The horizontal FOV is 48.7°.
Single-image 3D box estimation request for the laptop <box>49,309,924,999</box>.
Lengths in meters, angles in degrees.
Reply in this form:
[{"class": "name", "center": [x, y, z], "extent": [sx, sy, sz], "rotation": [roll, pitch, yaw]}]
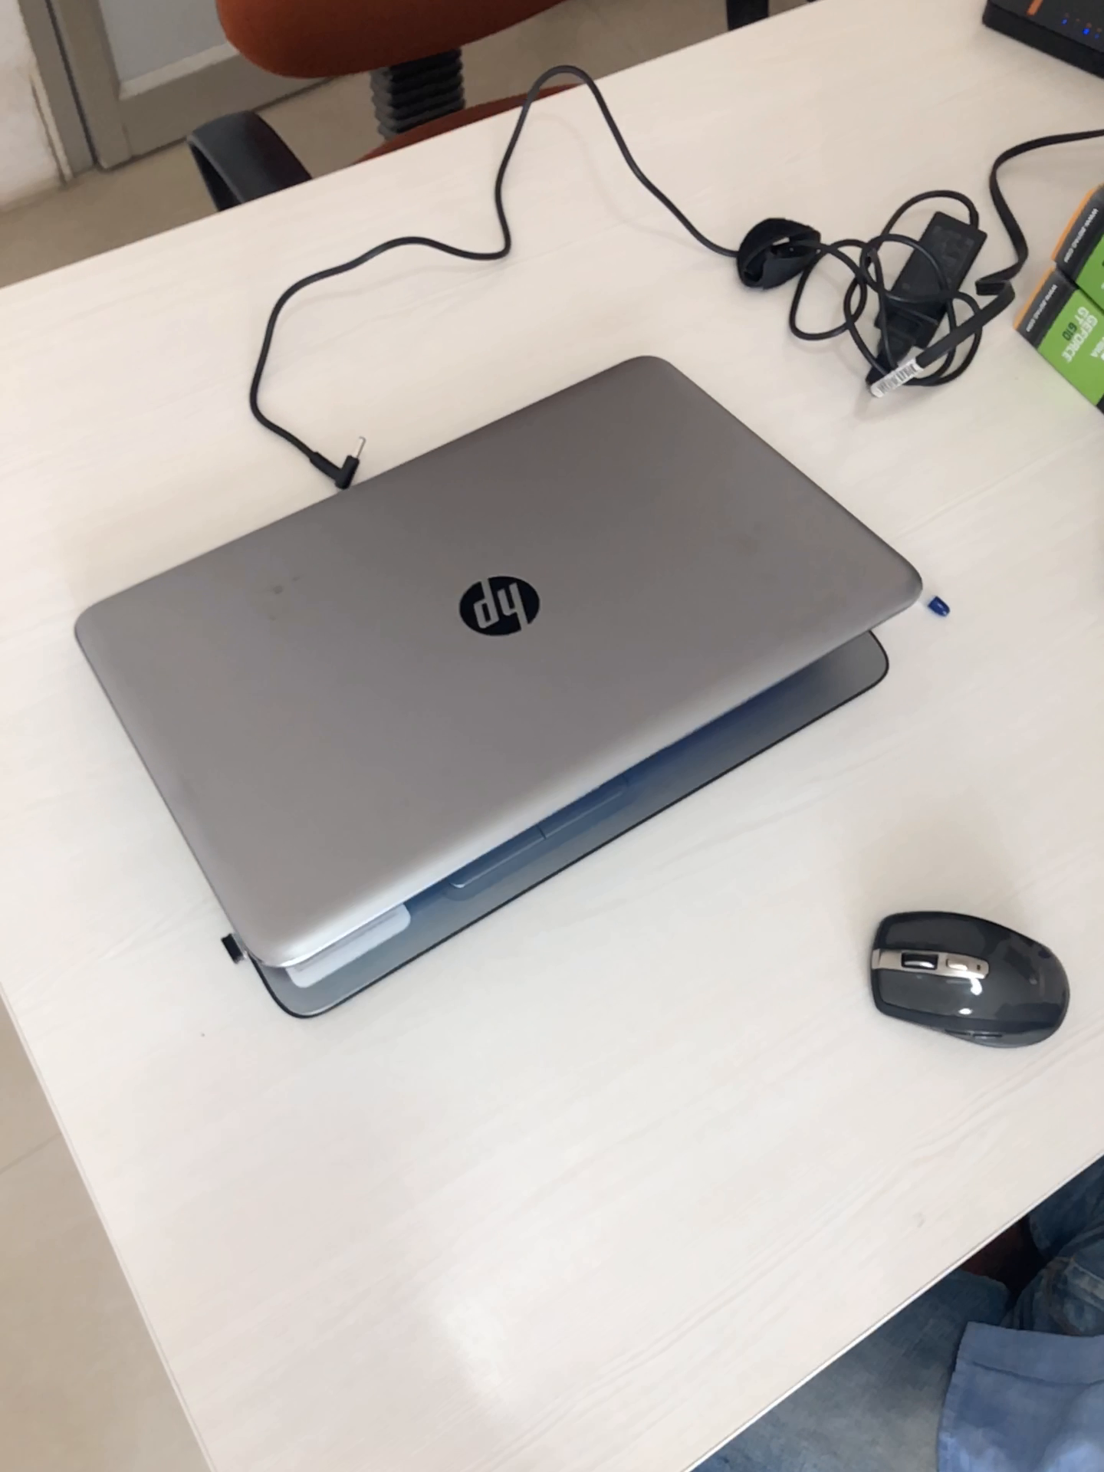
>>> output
[{"class": "laptop", "center": [-0.029, -0.058, 0.625], "extent": [0.356, 0.062, 0.226], "rotation": [-29, 71, -17]}]
